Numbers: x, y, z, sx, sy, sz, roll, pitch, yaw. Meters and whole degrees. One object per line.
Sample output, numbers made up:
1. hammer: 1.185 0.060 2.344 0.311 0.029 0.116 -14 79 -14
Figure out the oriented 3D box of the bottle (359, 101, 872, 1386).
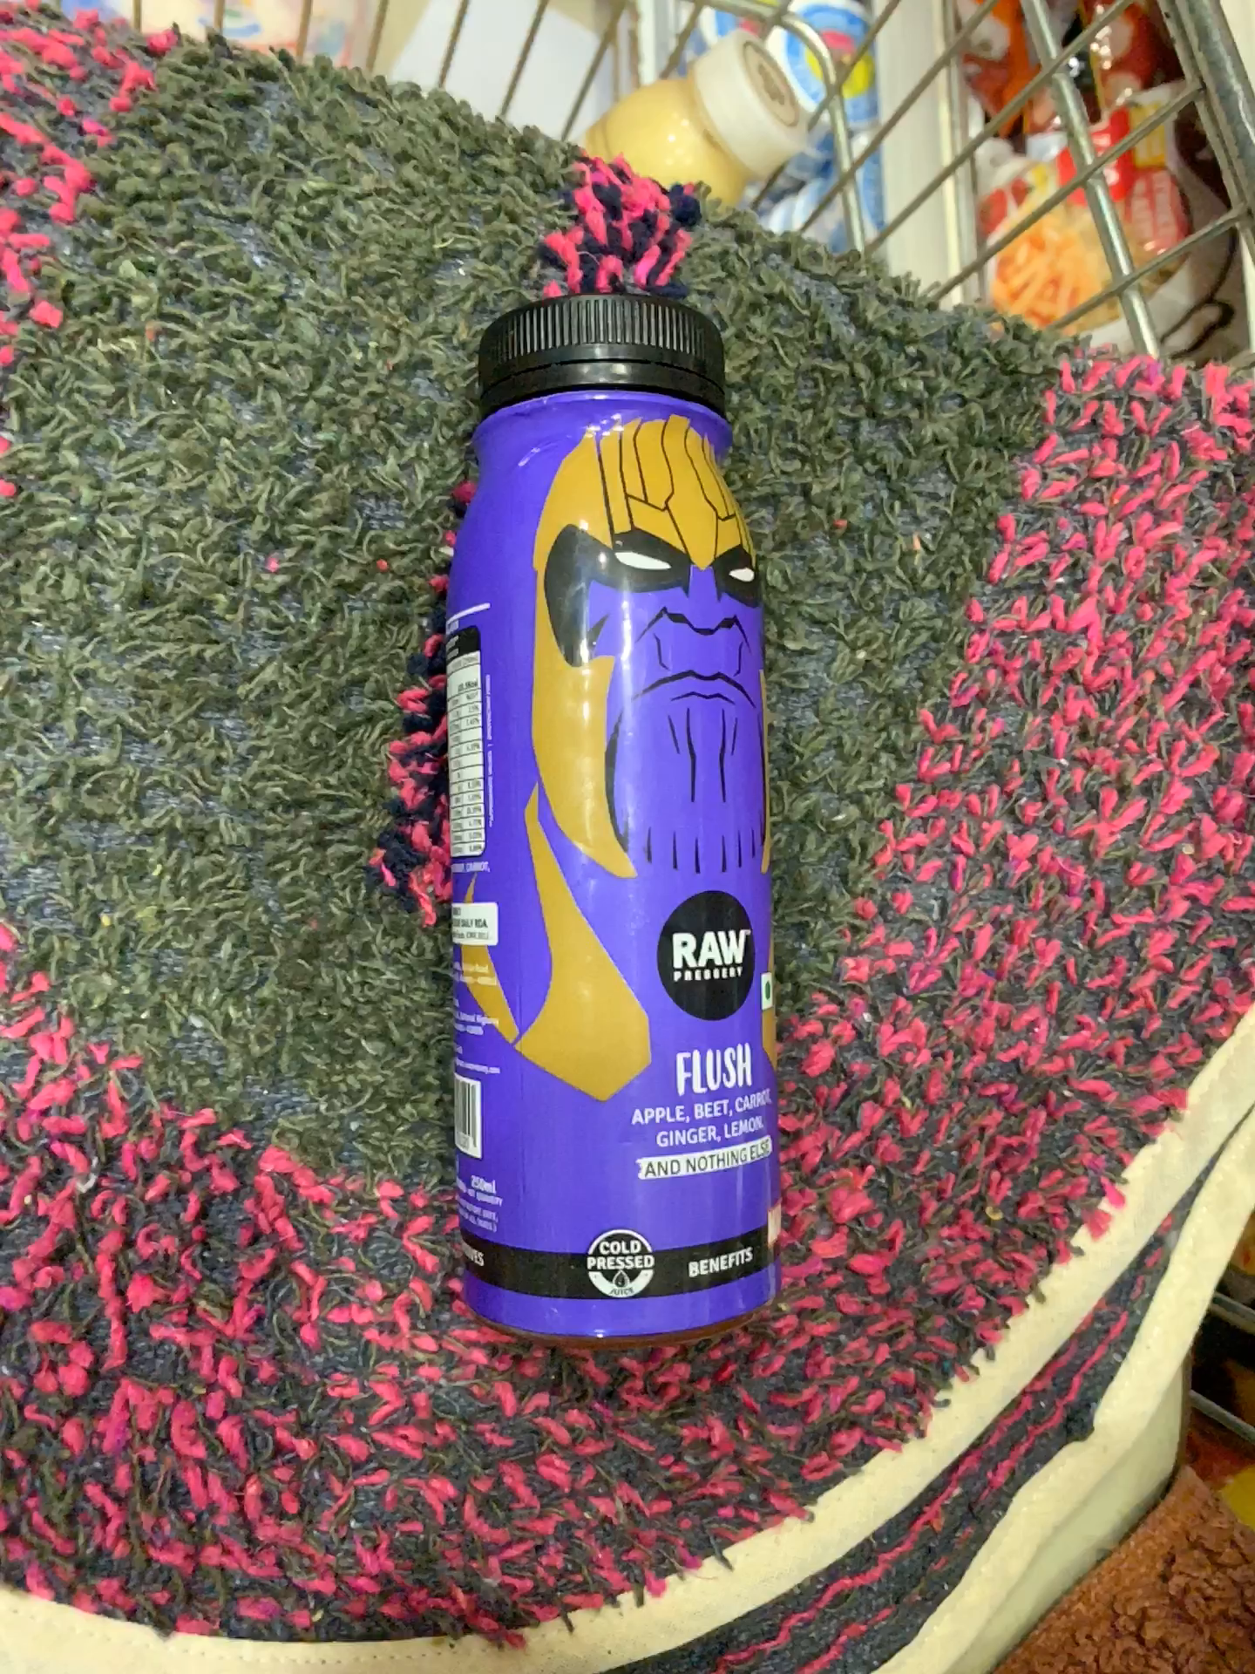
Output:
1. bottle: -0.005 -0.013 0.207 0.060 0.050 0.170 1 85 -29
